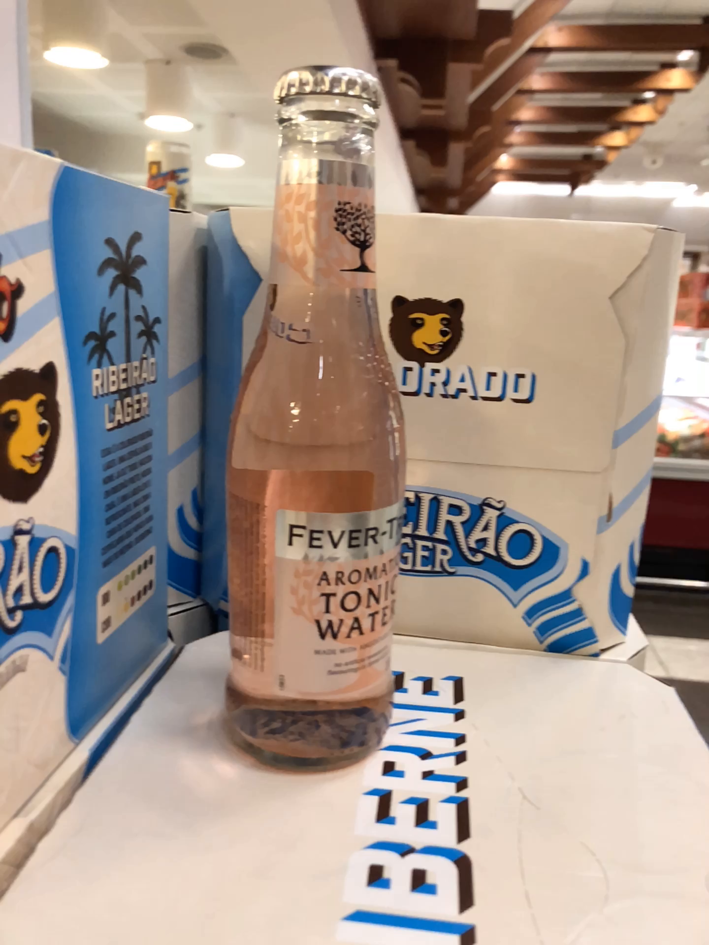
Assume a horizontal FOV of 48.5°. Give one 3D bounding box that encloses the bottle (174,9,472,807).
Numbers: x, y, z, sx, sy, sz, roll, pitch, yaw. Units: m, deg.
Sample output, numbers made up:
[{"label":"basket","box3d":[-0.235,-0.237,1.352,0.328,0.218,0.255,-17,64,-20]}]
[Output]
[{"label":"bottle","box3d":[-0.012,-0.014,0.224,0.060,0.189,0.050,-7,14,-41]}]
